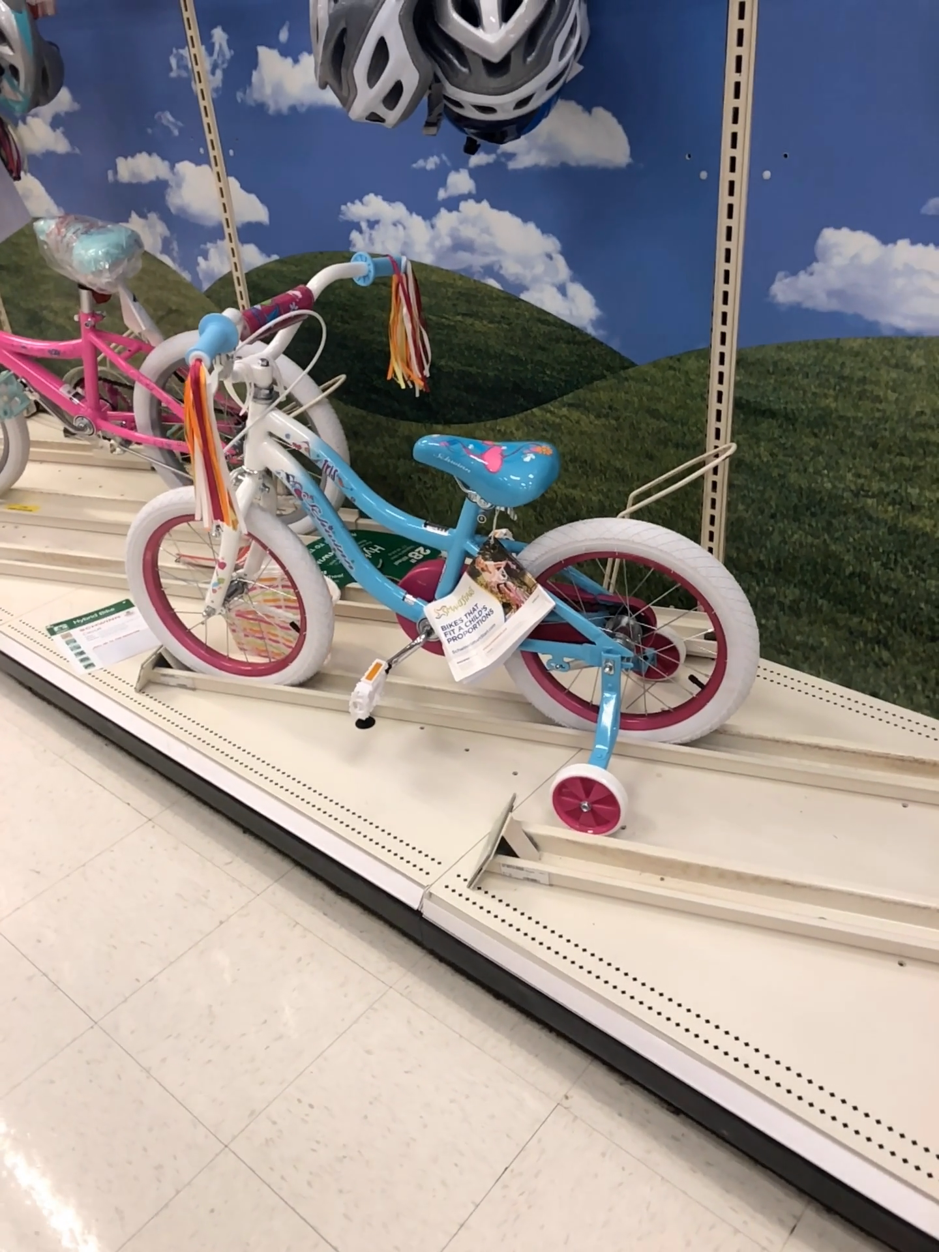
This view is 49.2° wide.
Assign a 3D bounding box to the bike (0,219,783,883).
[{"bbox_3d":[-0.105,-0.182,1.608,1.090,0.723,0.535,8,34,18],"label":"bike"}]
